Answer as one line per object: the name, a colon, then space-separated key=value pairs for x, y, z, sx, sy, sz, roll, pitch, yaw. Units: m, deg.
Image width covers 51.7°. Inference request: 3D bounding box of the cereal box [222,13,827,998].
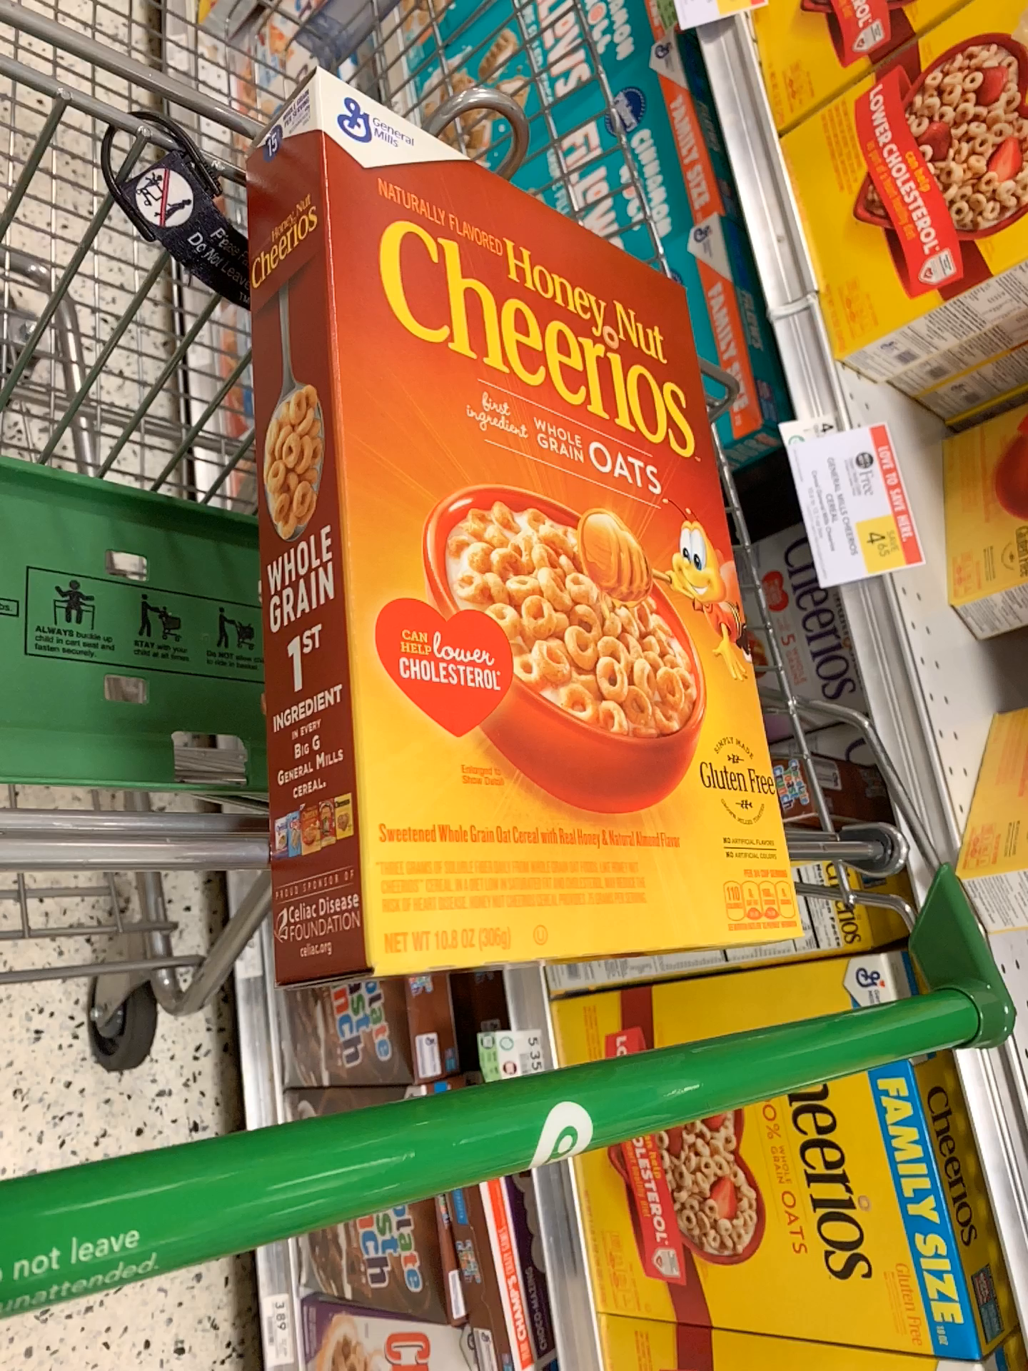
cereal box: x=0.006 y=-0.051 z=0.378 sx=0.201 sy=0.059 sz=0.291 roll=9 pitch=68 yaw=-43
